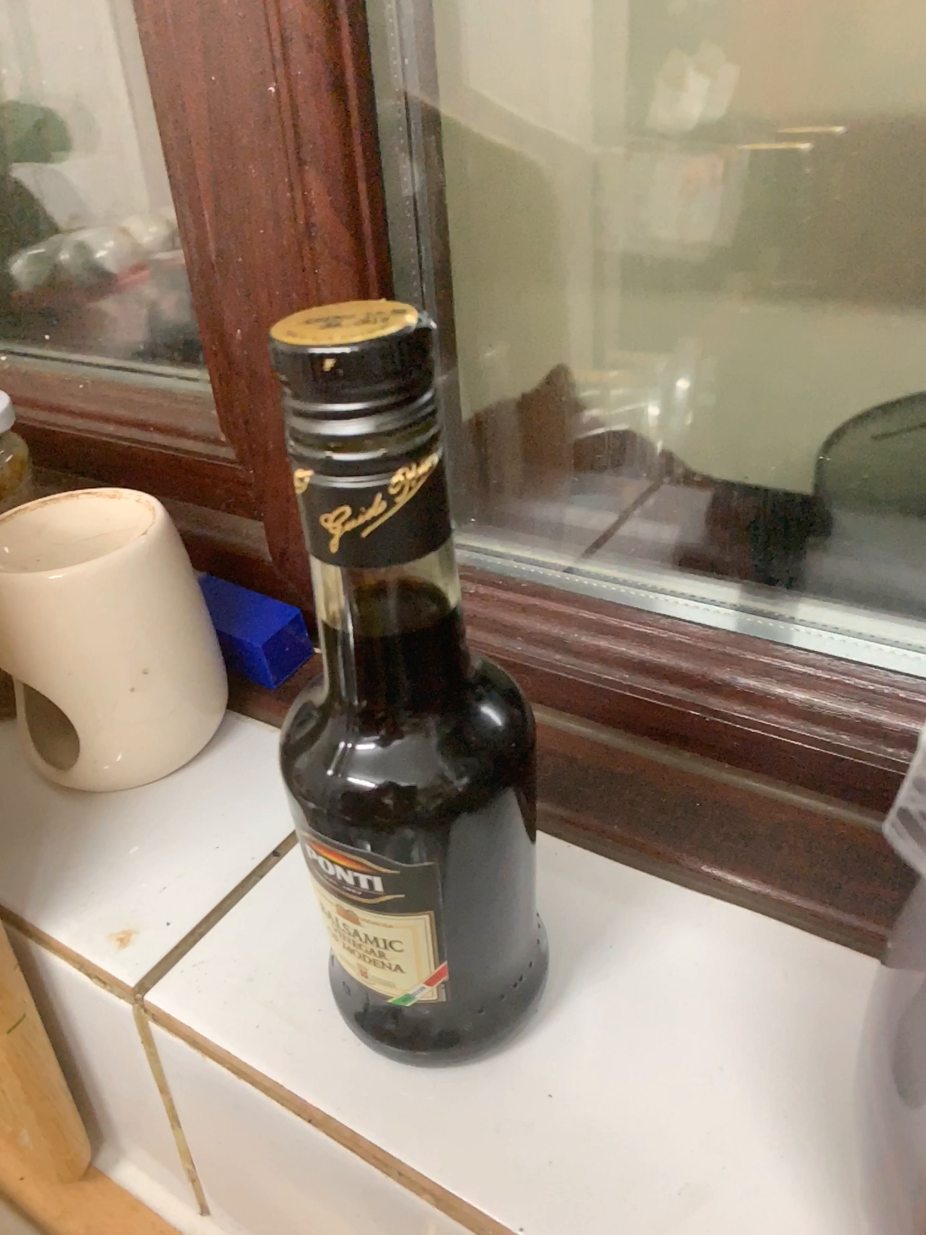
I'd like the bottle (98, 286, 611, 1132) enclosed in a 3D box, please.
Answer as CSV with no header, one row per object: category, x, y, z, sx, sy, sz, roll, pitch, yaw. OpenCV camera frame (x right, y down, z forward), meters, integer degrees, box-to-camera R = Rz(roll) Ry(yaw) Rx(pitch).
bottle,-0.013,0.023,0.229,0.070,0.178,0.070,-3,31,2
